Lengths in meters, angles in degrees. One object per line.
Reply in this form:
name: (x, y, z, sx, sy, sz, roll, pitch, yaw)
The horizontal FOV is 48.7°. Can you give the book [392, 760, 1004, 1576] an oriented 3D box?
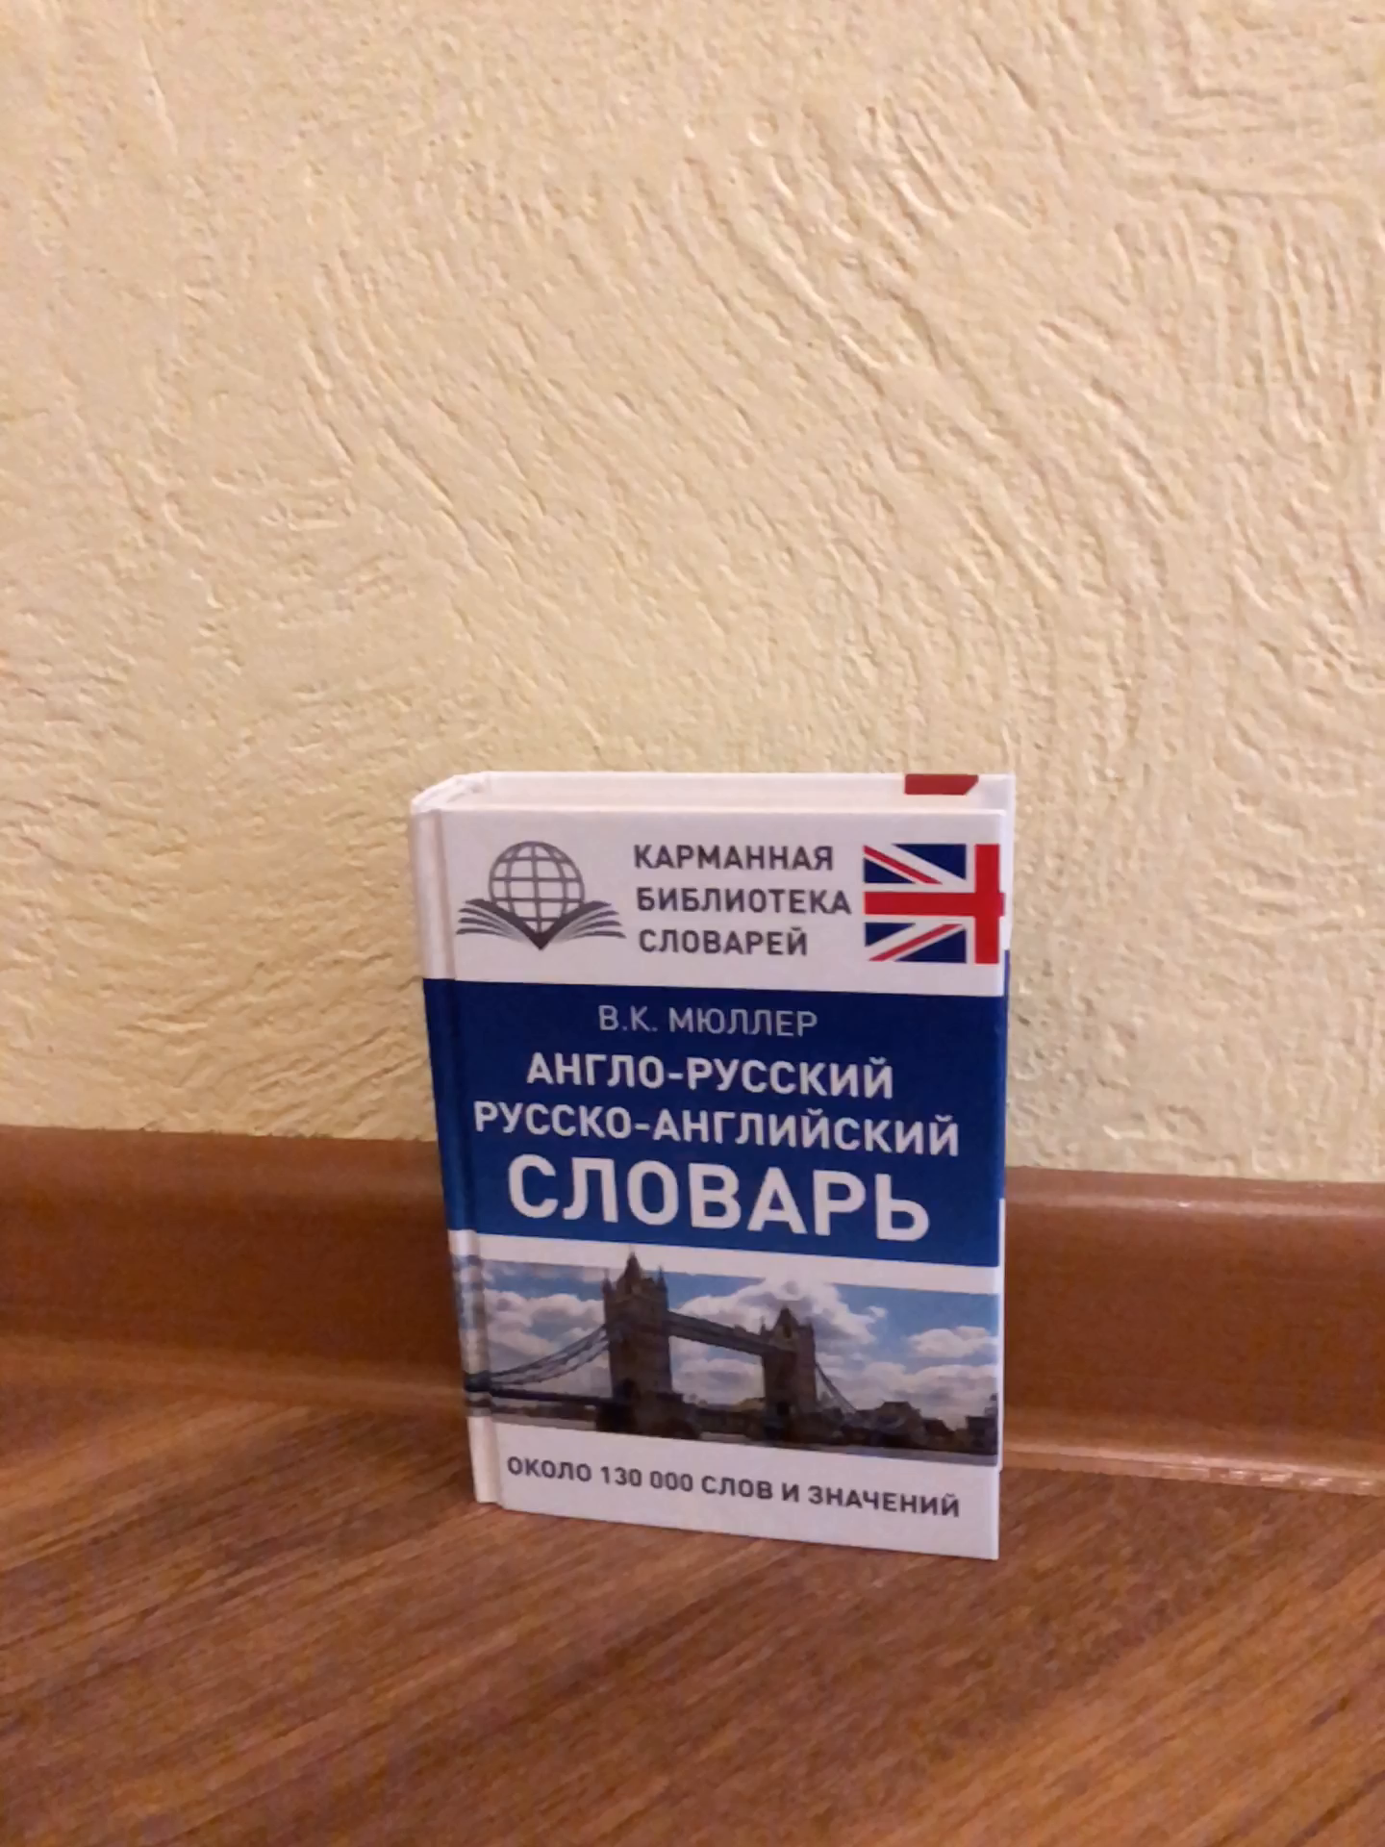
book: (0.006, 0.045, 0.291, 0.102, 0.146, 0.037, 1, 19, 12)
